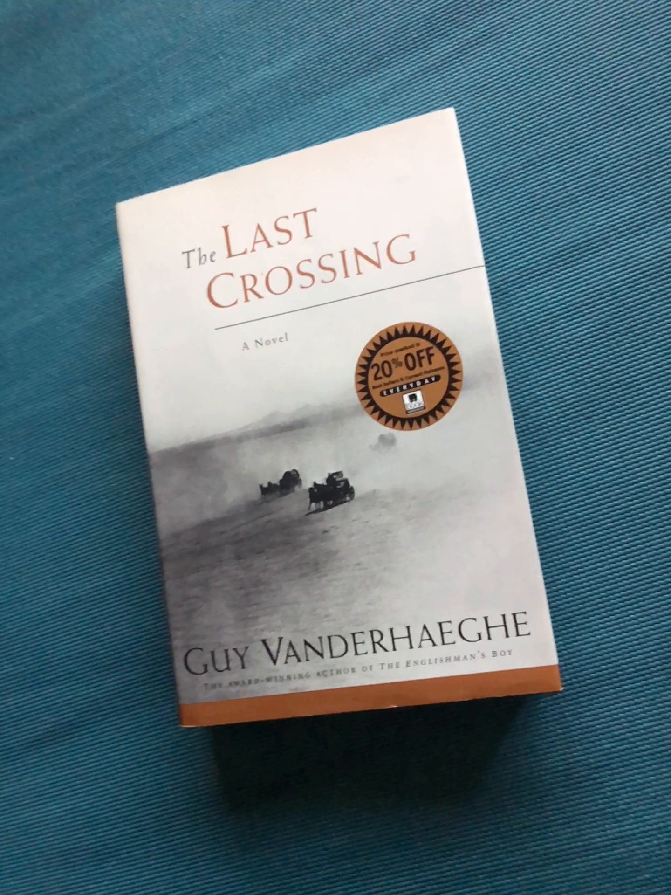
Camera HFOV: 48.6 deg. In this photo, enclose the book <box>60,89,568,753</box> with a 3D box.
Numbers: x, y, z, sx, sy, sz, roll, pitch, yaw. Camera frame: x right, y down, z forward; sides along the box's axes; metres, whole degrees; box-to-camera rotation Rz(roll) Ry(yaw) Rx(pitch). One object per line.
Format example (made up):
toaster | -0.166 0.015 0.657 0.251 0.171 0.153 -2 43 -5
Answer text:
book | -0.016 -0.007 0.306 0.170 0.040 0.230 -11 81 13
